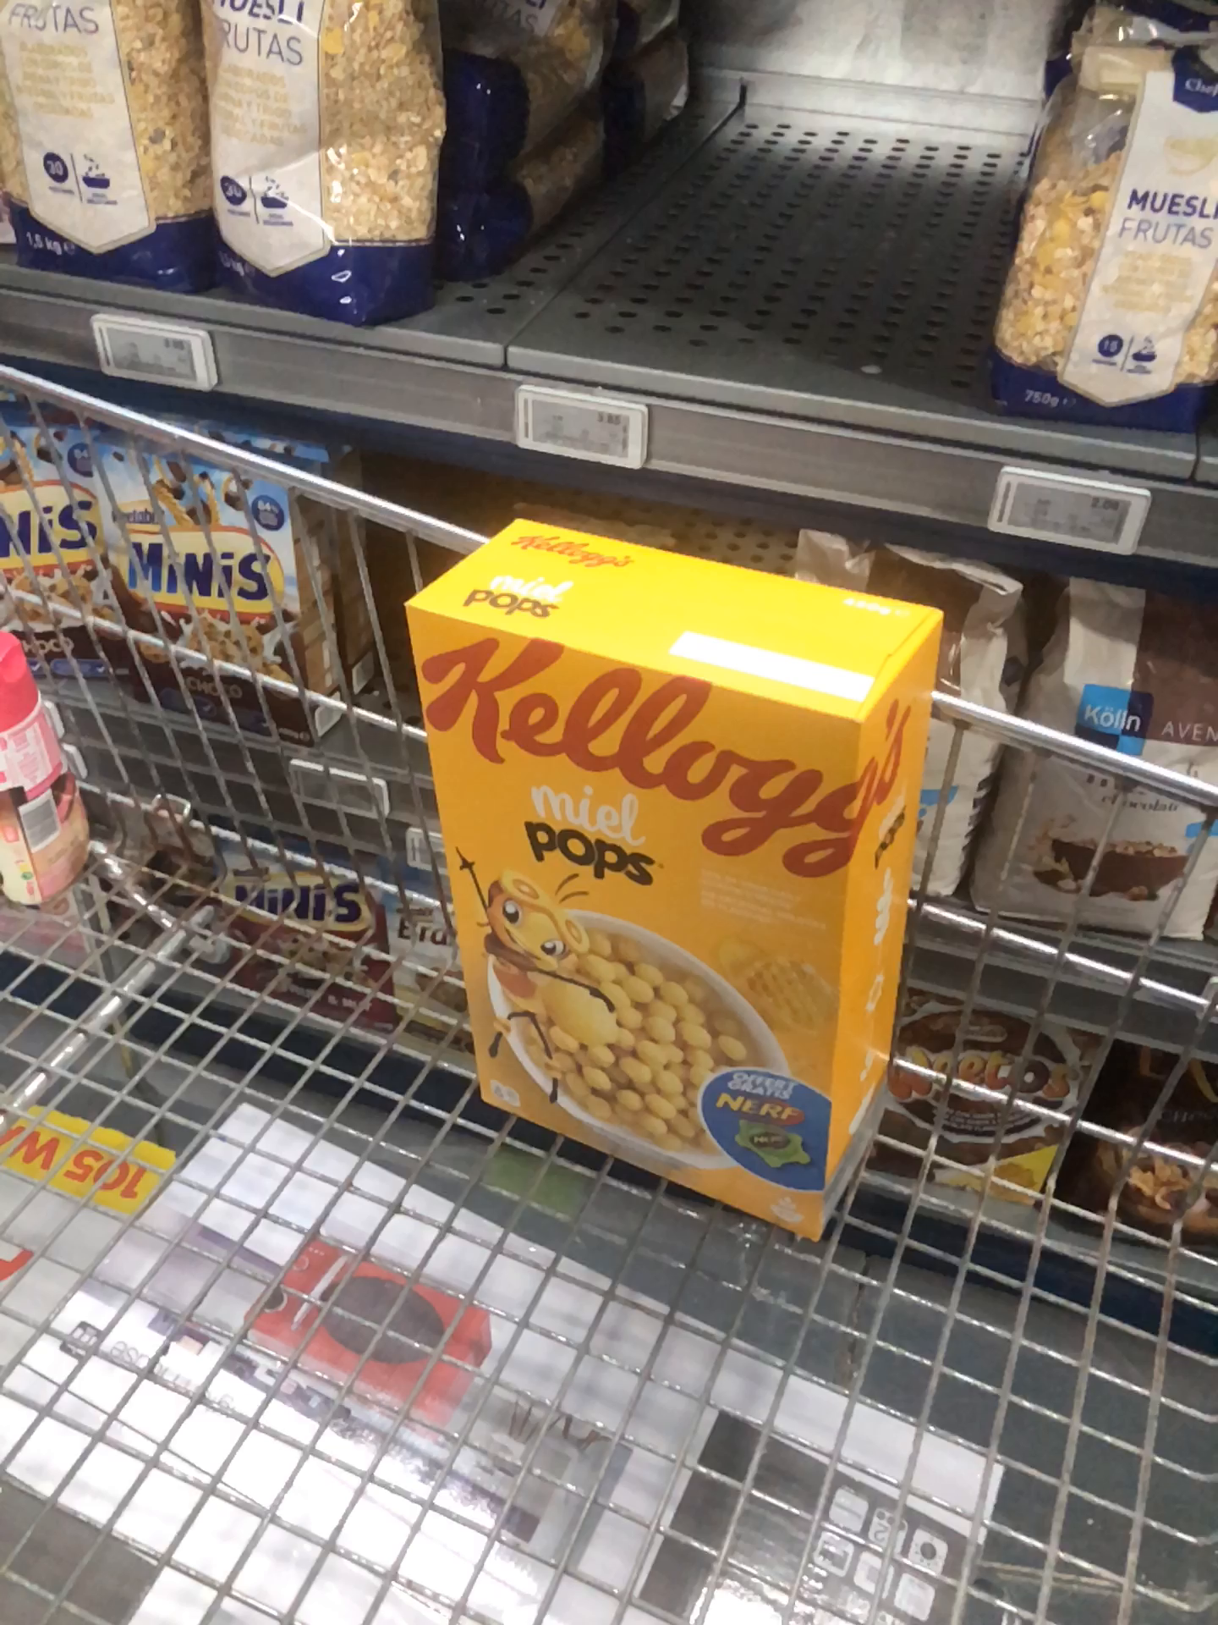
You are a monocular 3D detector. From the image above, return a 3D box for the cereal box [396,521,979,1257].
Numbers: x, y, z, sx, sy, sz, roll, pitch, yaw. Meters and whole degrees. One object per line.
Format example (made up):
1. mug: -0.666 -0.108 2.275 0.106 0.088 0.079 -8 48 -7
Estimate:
1. cereal box: 0.029 0.038 0.590 0.200 0.279 0.090 16 40 20
